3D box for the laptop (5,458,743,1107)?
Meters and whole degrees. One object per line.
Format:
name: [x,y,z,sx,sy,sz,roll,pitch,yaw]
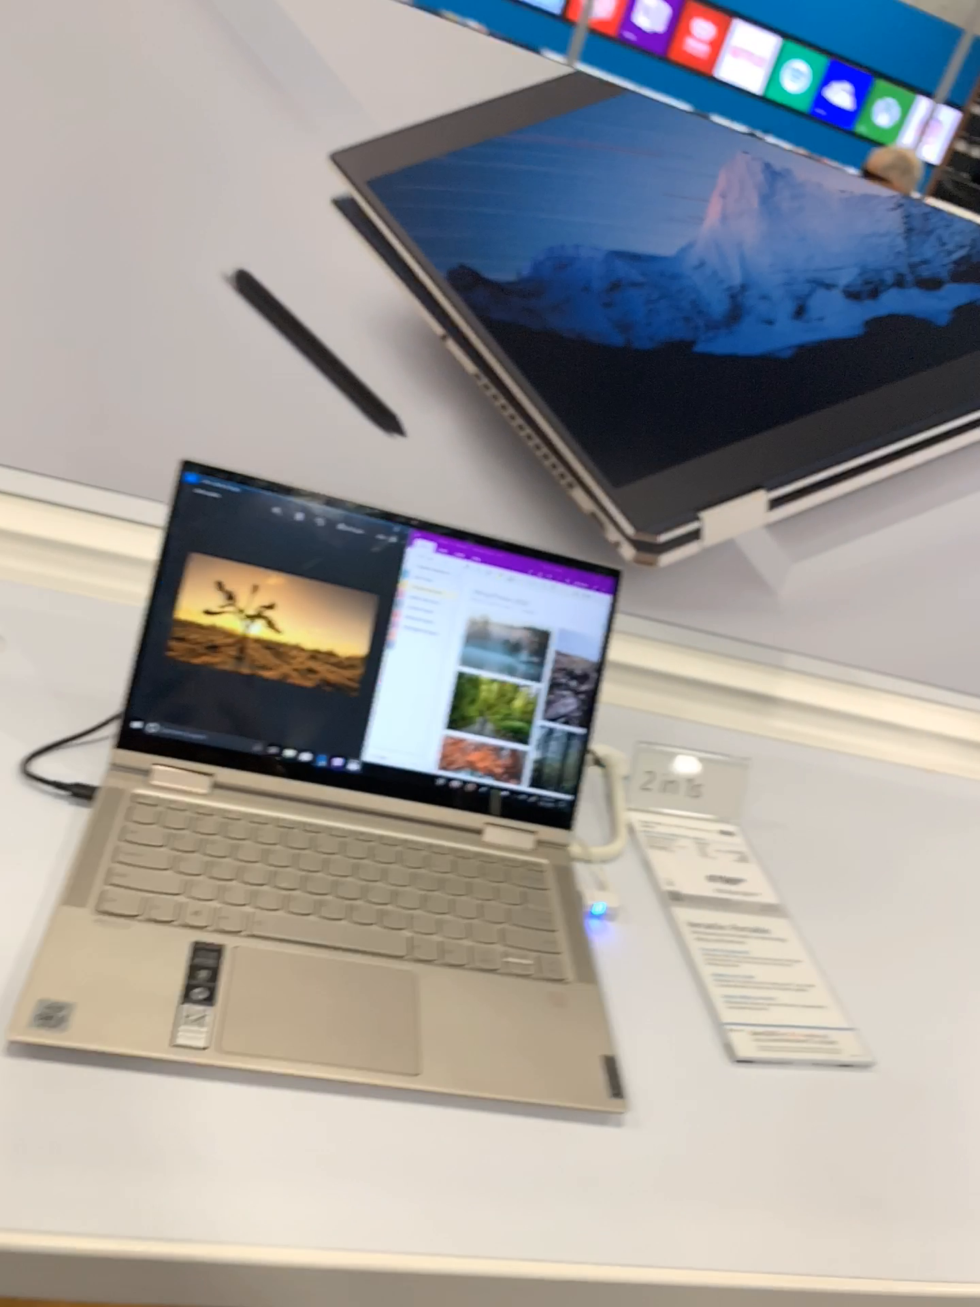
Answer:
laptop: [-0.067,0.057,0.615,0.309,0.170,0.330,12,29,-13]
